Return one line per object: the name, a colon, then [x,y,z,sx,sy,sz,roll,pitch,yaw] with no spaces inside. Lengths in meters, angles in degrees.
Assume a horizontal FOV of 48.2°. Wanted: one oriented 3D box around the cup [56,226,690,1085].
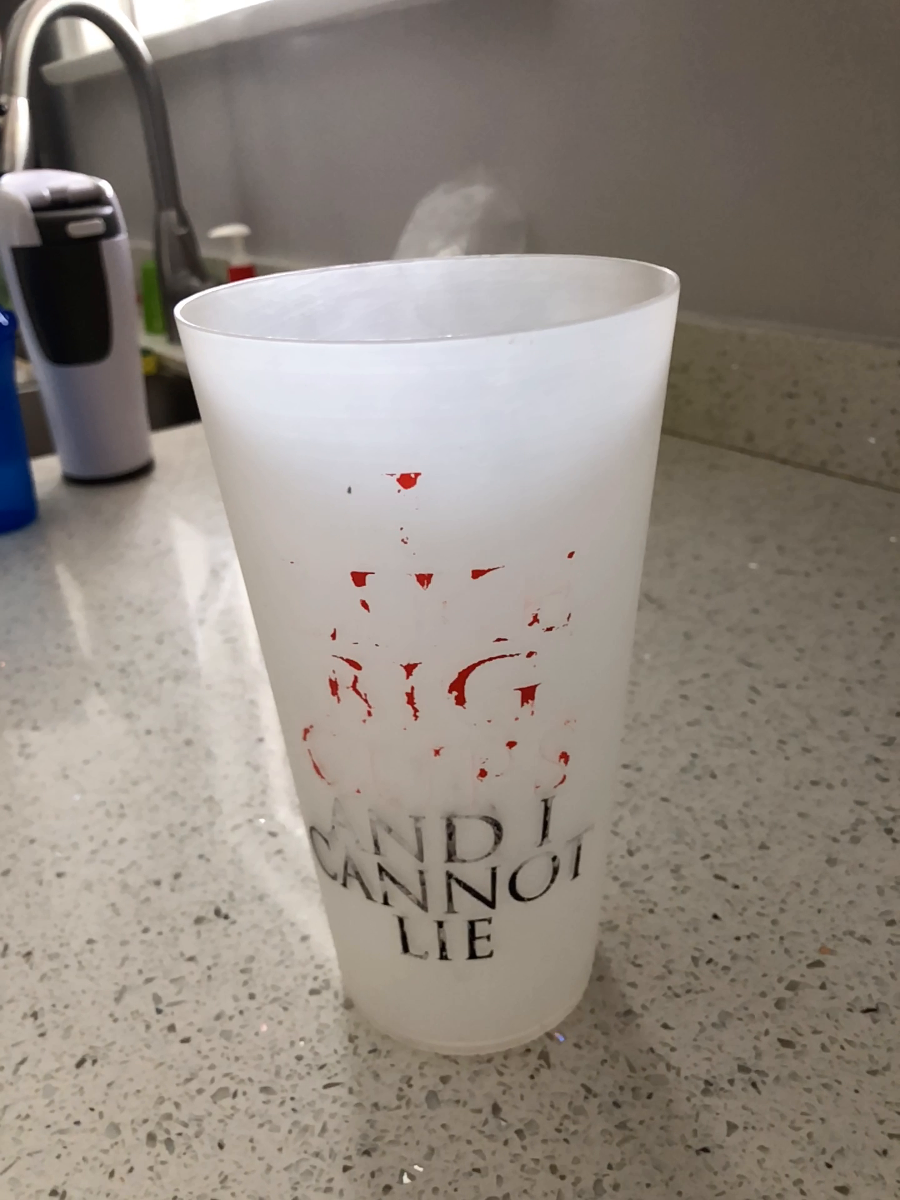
cup: [-0.005,0.011,0.228,0.096,0.166,0.094,-3,25,2]
